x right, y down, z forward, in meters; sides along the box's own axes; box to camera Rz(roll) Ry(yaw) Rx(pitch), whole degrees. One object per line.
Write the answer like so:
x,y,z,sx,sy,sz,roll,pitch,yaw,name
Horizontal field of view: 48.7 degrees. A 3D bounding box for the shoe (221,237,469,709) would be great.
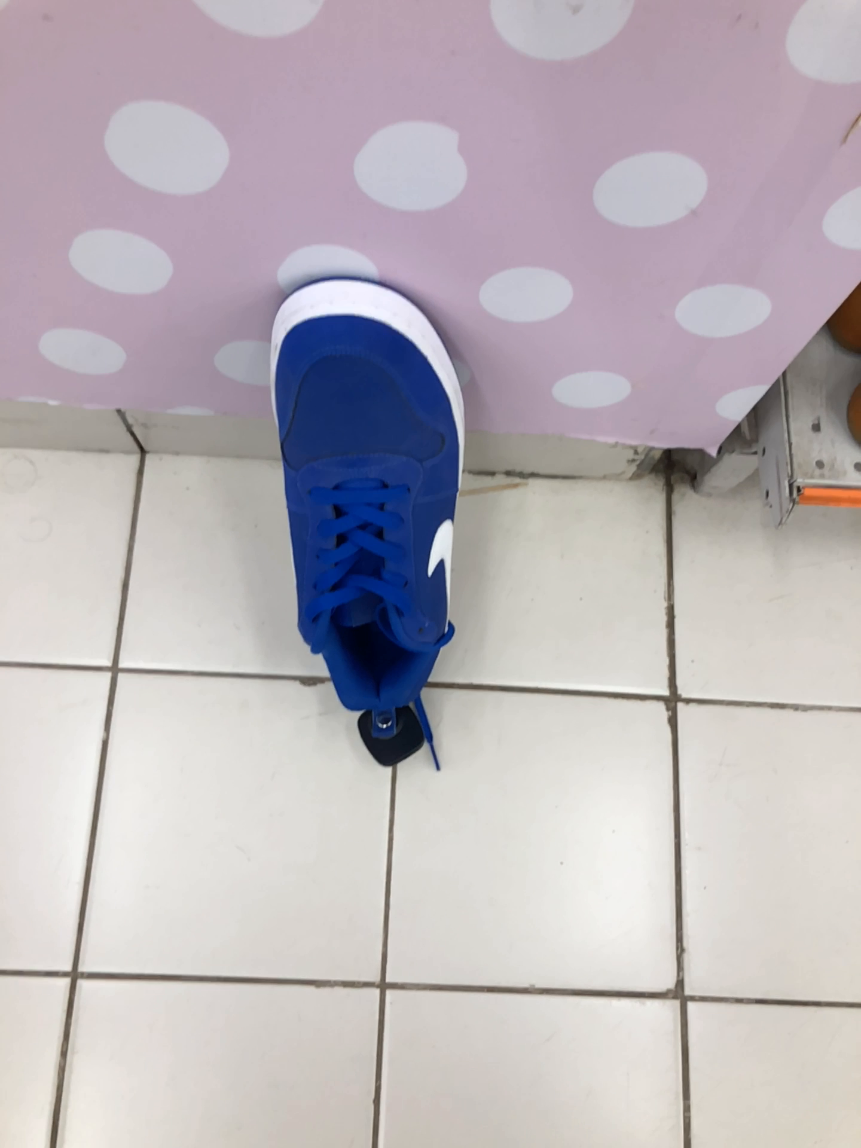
-0.034,-0.039,0.553,0.110,0.289,0.080,0,46,1,shoe
